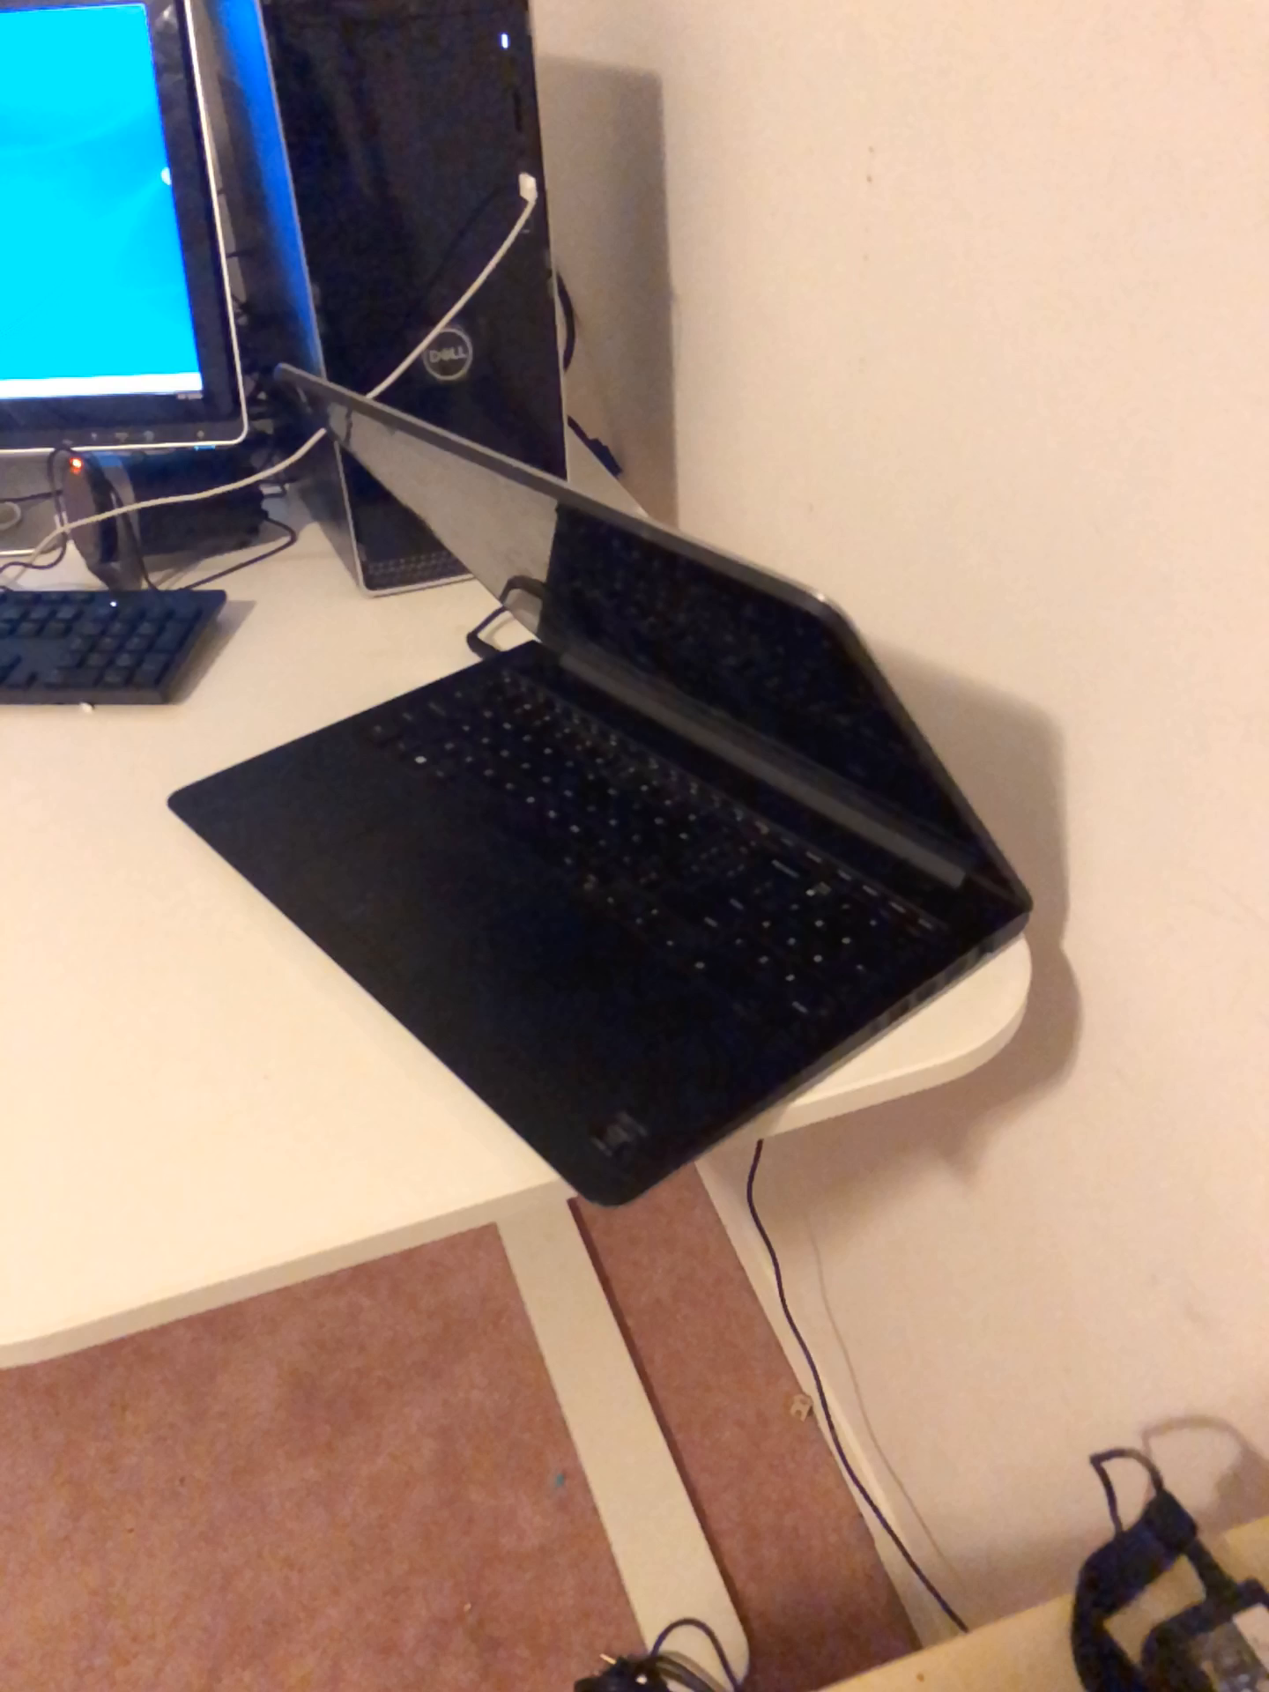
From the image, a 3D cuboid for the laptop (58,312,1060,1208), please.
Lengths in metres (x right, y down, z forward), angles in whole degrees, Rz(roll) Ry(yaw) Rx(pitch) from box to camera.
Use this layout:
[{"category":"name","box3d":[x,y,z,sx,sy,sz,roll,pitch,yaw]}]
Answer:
[{"category":"laptop","box3d":[-0.048,-0.080,0.637,0.251,0.207,0.375,-28,42,-29]}]
